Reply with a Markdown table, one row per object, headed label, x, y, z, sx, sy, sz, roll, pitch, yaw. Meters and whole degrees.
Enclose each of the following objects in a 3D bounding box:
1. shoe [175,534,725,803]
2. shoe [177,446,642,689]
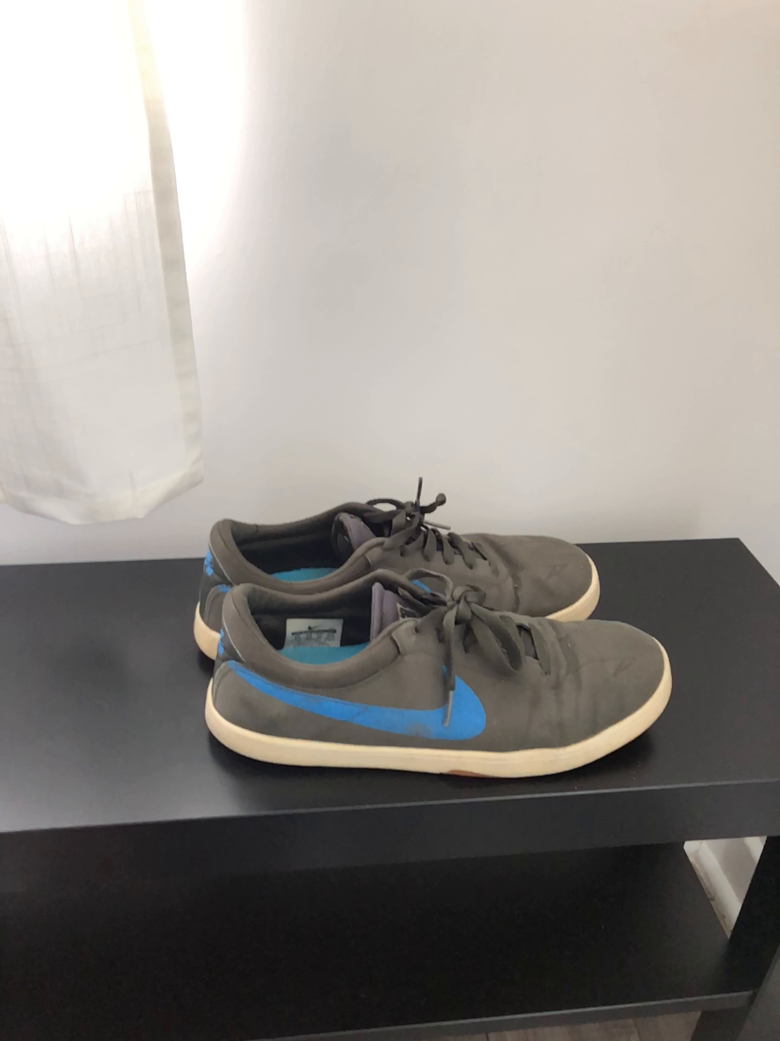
| label | x | y | z | sx | sy | sz | roll | pitch | yaw |
| --- | --- | --- | --- | --- | --- | --- | --- | --- | --- |
| shoe | 0.028 | 0.083 | 0.503 | 0.280 | 0.110 | 0.100 | -1 | 30 | -5 |
| shoe | 0.007 | 0.026 | 0.578 | 0.280 | 0.110 | 0.100 | -3 | 31 | -9 |
